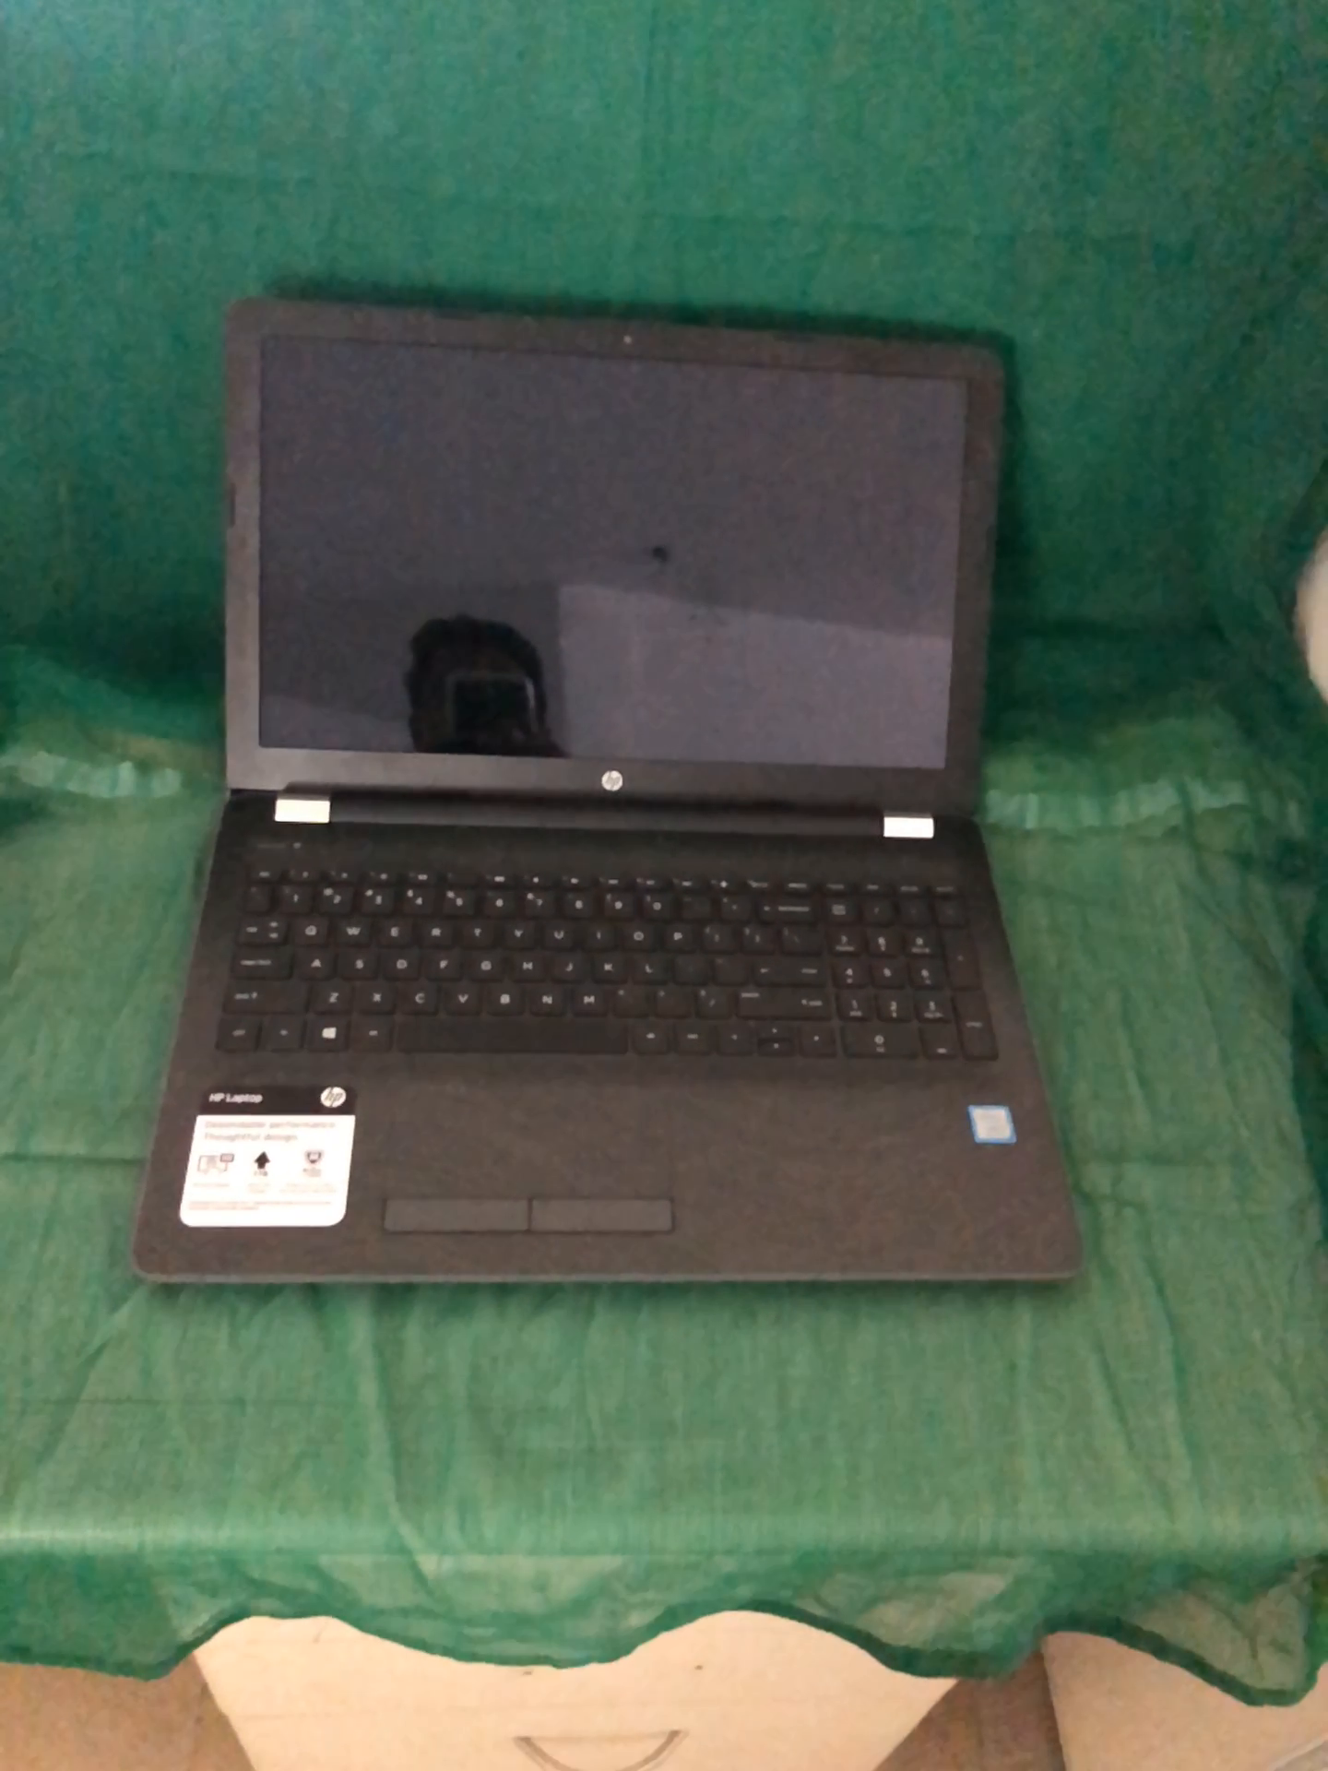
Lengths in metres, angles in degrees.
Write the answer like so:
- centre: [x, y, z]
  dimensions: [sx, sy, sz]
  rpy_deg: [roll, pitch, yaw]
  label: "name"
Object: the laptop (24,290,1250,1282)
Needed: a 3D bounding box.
- centre: [-0.015, -0.063, 0.650]
  dimensions: [0.378, 0.179, 0.417]
  rpy_deg: [2, 50, -5]
  label: "laptop"
